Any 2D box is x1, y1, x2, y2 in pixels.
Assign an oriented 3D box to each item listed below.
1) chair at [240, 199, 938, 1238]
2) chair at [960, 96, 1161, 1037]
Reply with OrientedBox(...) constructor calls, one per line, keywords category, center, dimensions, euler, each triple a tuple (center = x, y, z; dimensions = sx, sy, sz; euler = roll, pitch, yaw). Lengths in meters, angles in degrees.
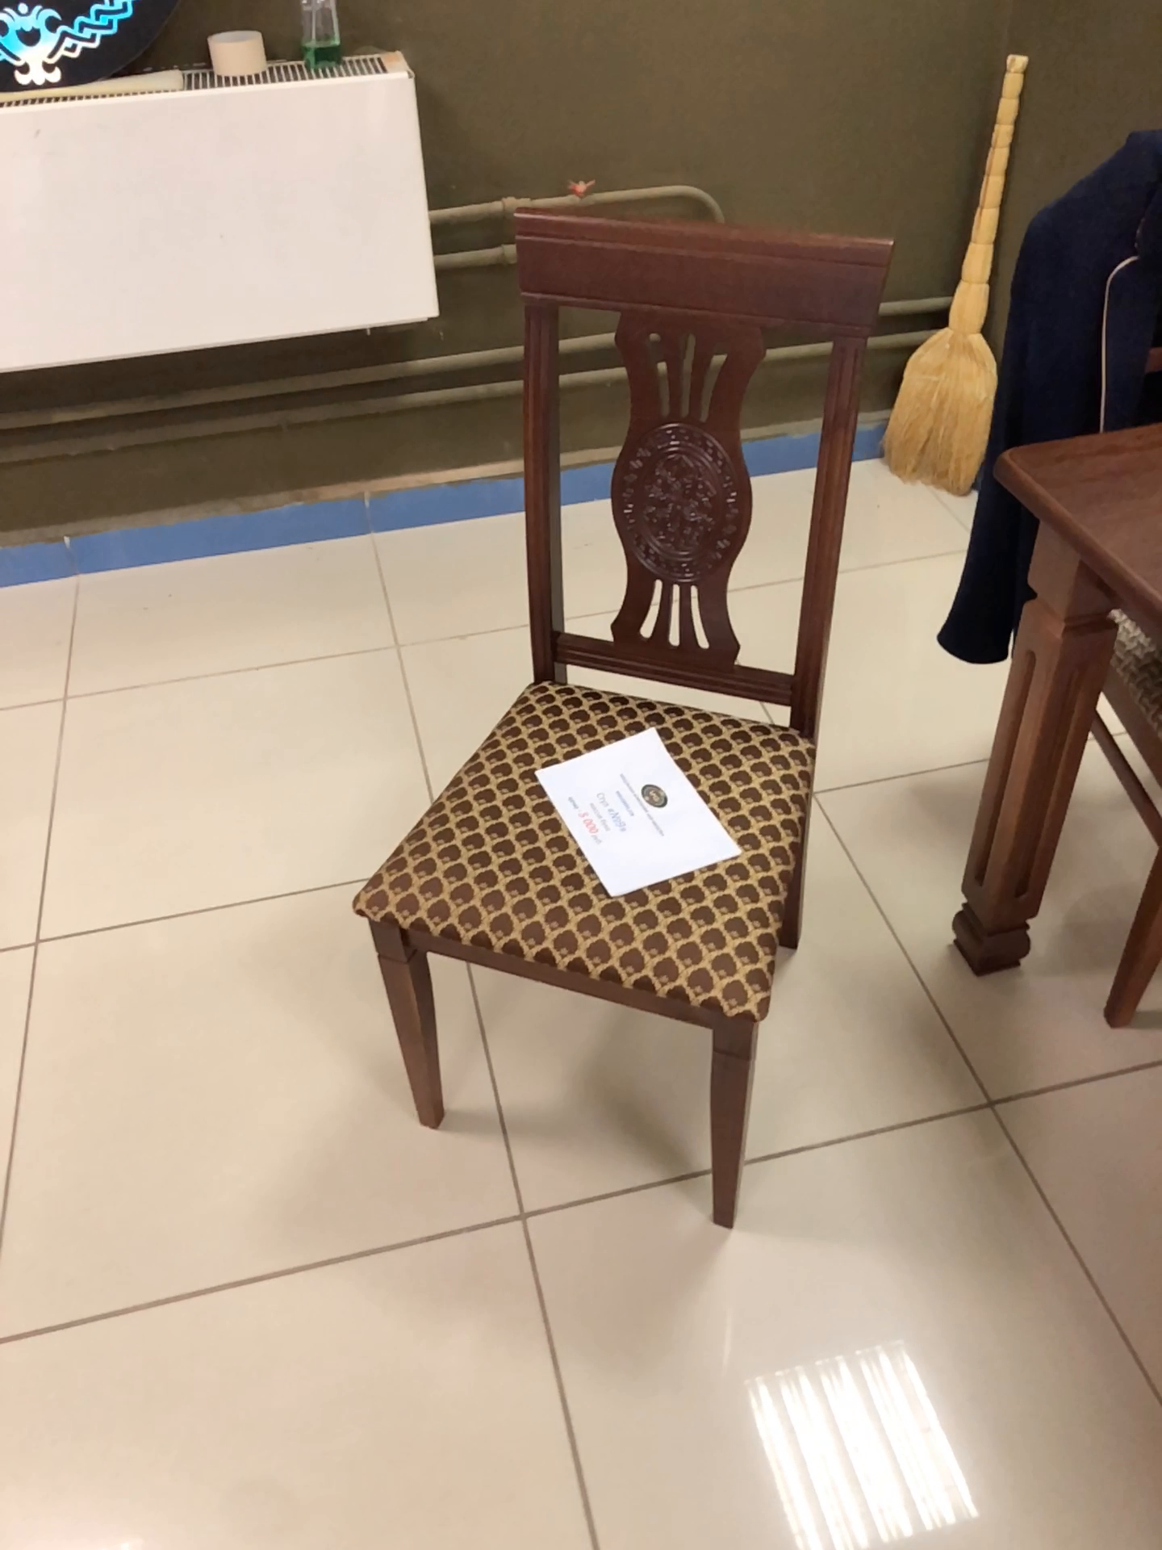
OrientedBox(category="chair", center=(0.050, -0.032, 1.358), dimensions=(0.436, 0.935, 0.472), euler=(13, 43, 18))
OrientedBox(category="chair", center=(0.835, -0.216, 1.541), dimensions=(0.430, 0.955, 0.493), euler=(-8, 41, -7))
